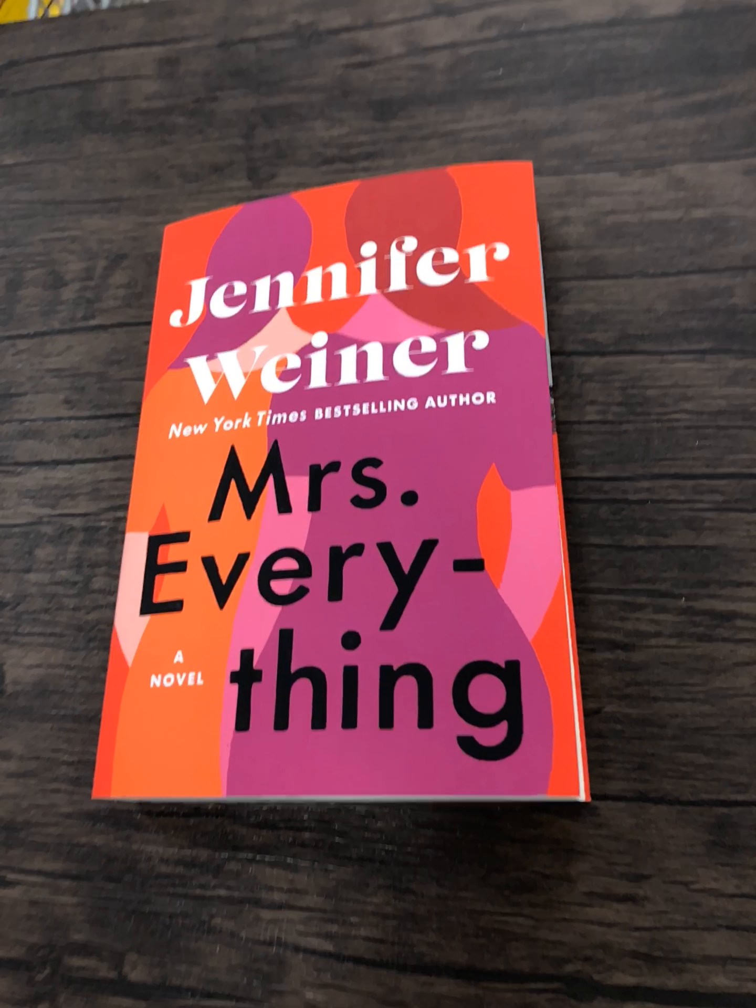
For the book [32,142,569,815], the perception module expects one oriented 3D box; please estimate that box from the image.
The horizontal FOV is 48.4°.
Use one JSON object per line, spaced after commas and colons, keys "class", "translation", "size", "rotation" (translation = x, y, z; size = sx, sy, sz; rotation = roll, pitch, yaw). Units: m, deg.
{"class": "book", "translation": [-0.022, -0.011, 0.305], "size": [0.161, 0.046, 0.232], "rotation": [-4, 68, 12]}
